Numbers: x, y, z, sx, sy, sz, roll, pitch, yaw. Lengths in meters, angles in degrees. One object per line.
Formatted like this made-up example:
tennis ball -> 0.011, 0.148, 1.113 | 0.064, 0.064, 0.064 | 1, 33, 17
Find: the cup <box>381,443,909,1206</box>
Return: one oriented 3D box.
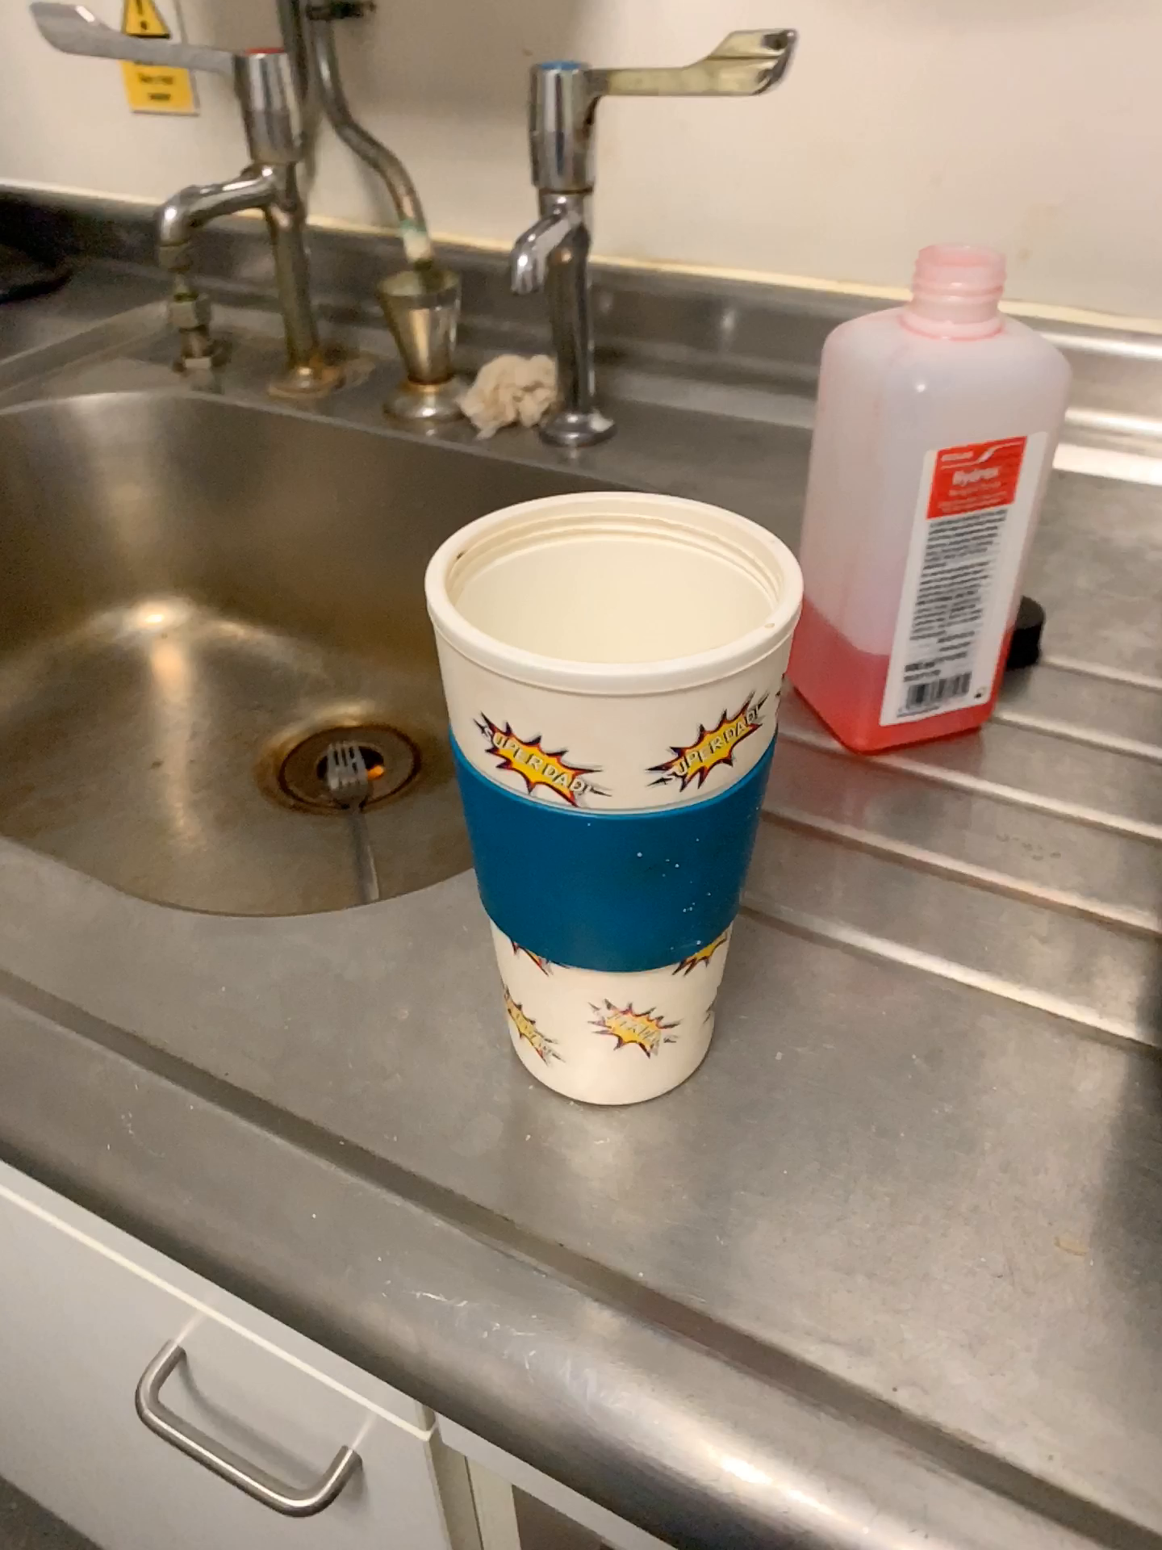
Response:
cup -> 0.018, 0.013, 0.330 | 0.090, 0.167, 0.093 | 0, 37, 0
